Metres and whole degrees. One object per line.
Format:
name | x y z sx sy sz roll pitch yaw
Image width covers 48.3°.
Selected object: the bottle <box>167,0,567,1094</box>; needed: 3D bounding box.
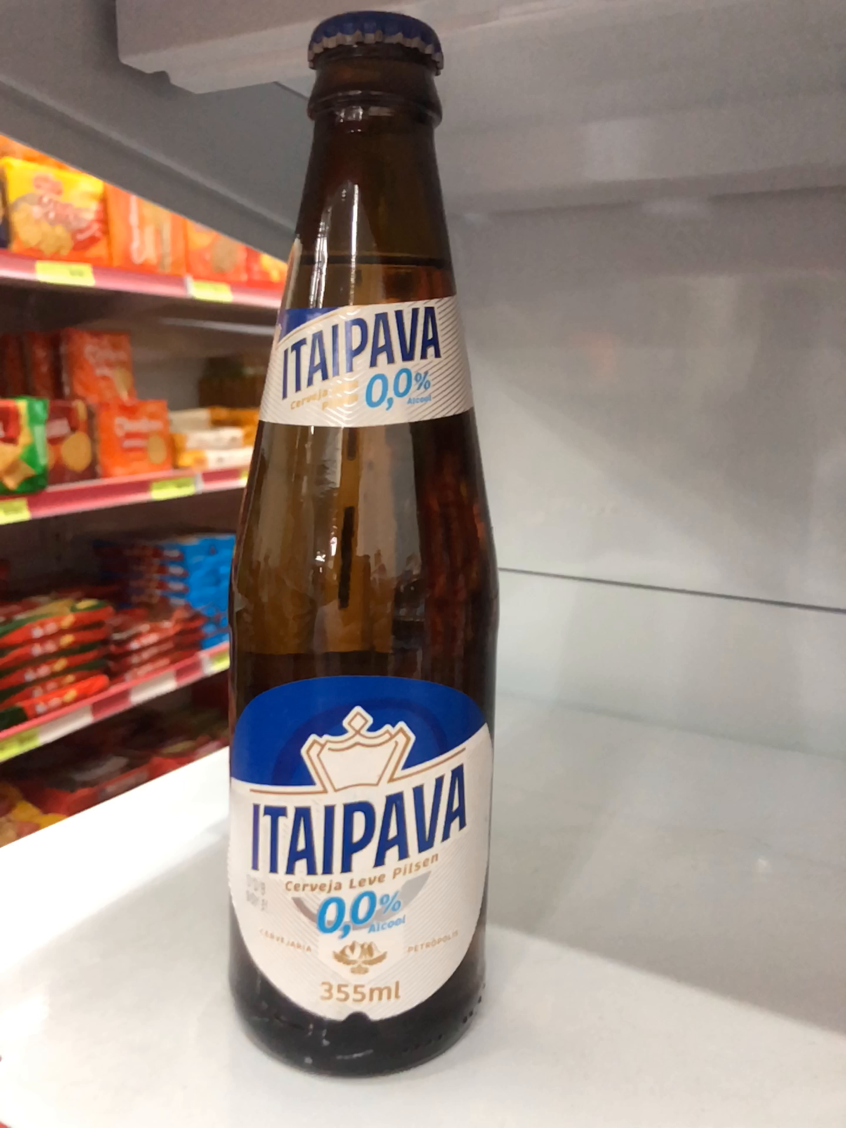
bottle | -0.009 -0.010 0.189 0.060 0.209 0.060 1 10 0
